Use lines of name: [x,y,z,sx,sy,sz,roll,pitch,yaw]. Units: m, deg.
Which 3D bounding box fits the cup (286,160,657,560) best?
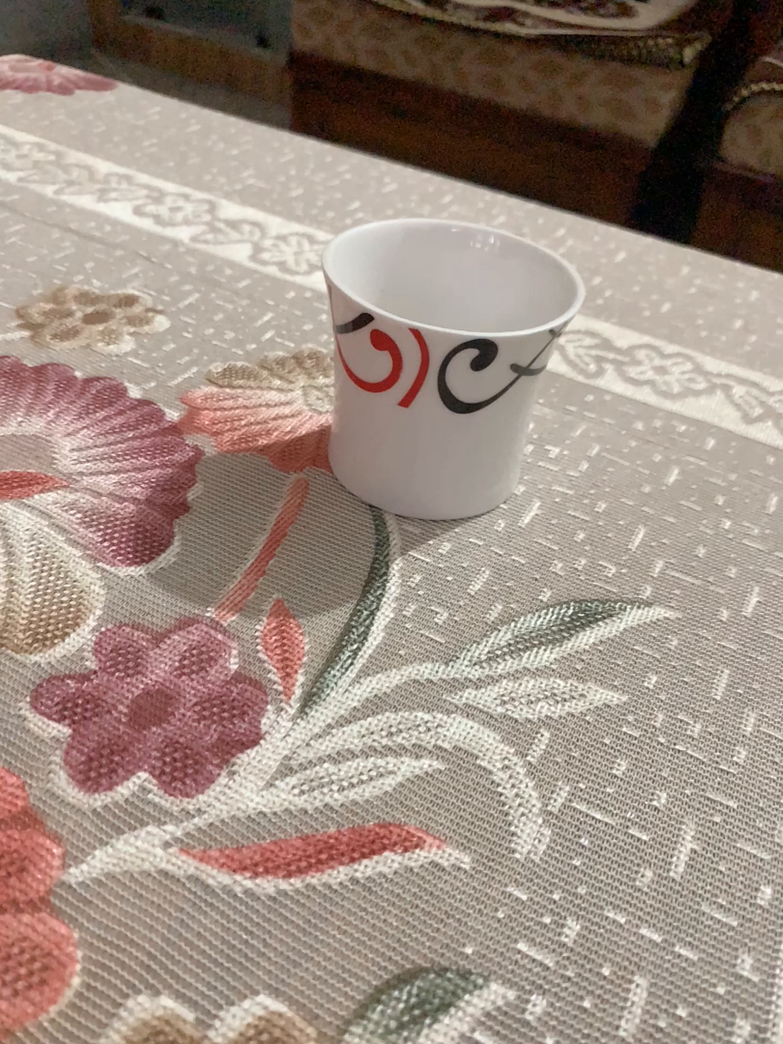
cup: [0.024,-0.050,0.229,0.070,0.060,0.090,20,42,12]
